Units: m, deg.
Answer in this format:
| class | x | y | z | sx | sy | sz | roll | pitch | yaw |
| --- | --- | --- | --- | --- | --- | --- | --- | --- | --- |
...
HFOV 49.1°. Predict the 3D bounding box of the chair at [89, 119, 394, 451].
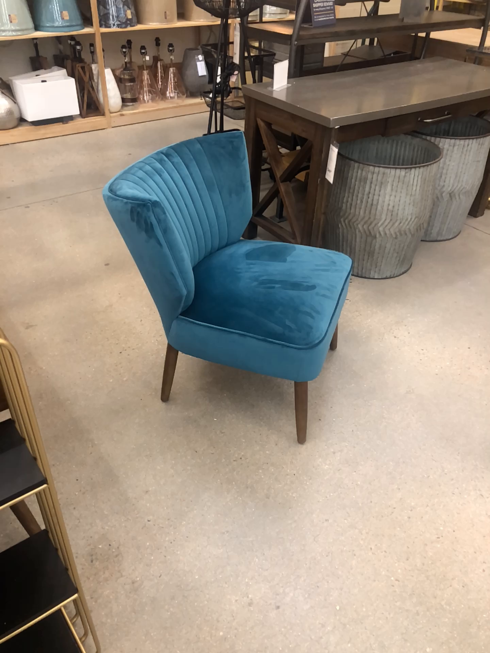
| class | x | y | z | sx | sy | sz | roll | pitch | yaw |
| --- | --- | --- | --- | --- | --- | --- | --- | --- | --- |
| chair | 0.032 | -0.169 | 1.663 | 0.660 | 0.676 | 0.663 | 12 | 38 | 13 |
